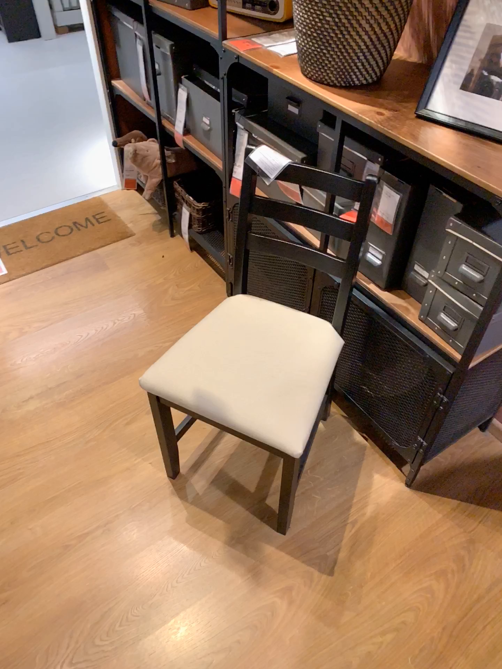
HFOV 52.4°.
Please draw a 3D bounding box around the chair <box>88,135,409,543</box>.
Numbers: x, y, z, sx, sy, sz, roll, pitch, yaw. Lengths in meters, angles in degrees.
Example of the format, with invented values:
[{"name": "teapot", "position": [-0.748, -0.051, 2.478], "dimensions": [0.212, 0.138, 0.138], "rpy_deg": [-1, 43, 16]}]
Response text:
[{"name": "chair", "position": [0.027, 0.026, 1.273], "dimensions": [0.430, 0.767, 0.542], "rpy_deg": [20, 49, 18]}]
